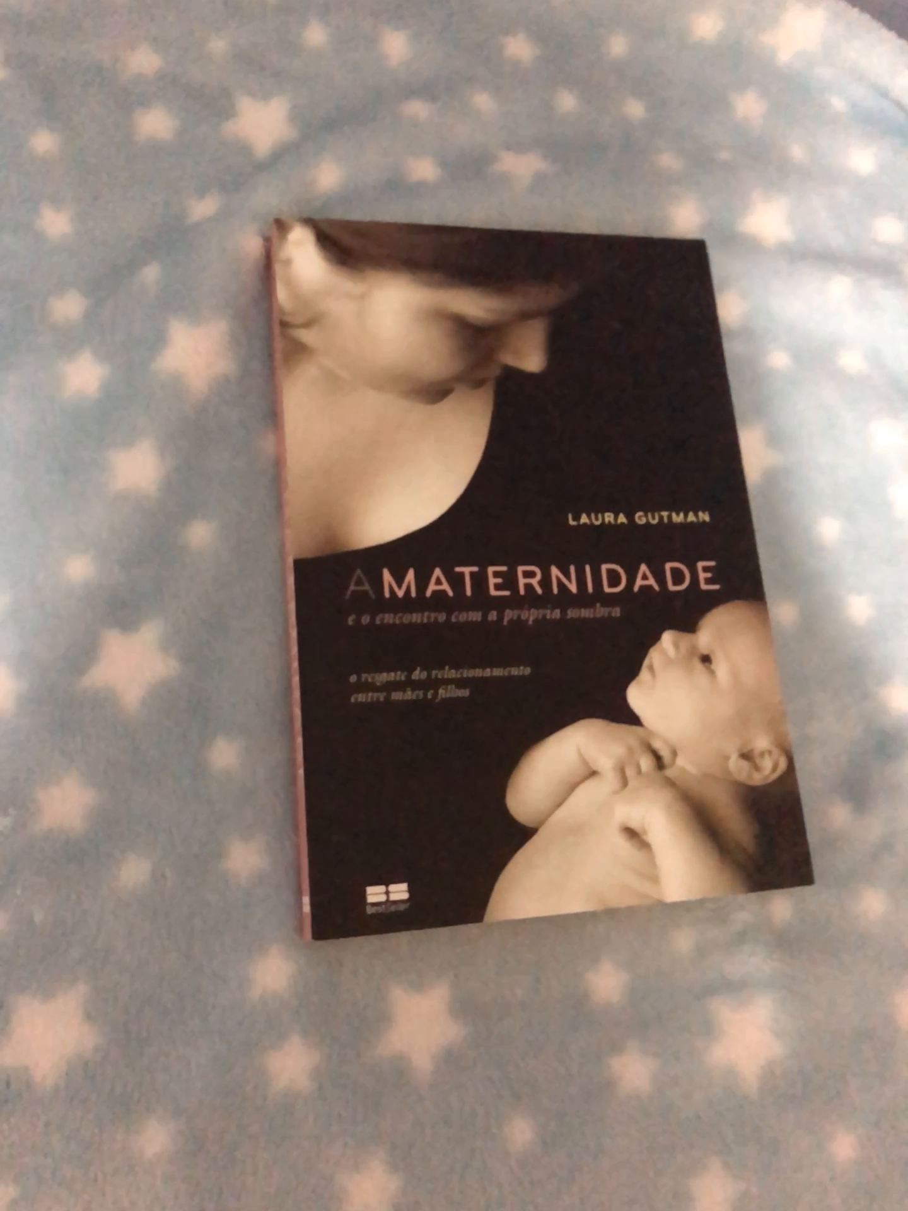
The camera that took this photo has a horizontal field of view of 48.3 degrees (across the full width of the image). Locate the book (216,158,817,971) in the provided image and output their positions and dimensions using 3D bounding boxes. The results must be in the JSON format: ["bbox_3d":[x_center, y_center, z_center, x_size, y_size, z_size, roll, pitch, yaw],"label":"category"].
[{"bbox_3d":[0.011,-0.023,0.316,0.160,0.030,0.240,-2,74,-13],"label":"book"}]
